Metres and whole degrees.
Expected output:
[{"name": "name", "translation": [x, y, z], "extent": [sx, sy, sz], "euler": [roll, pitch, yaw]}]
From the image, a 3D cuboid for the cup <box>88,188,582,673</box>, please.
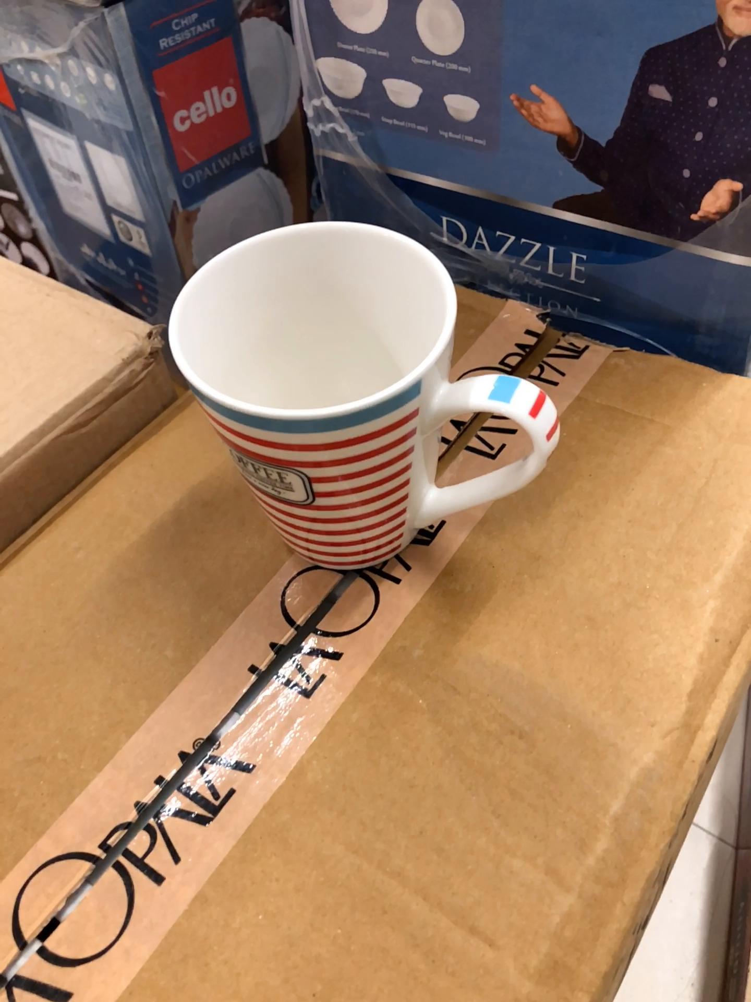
[{"name": "cup", "translation": [-0.004, -0.025, 0.269], "extent": [0.110, 0.099, 0.091], "euler": [16, 52, 20]}]
